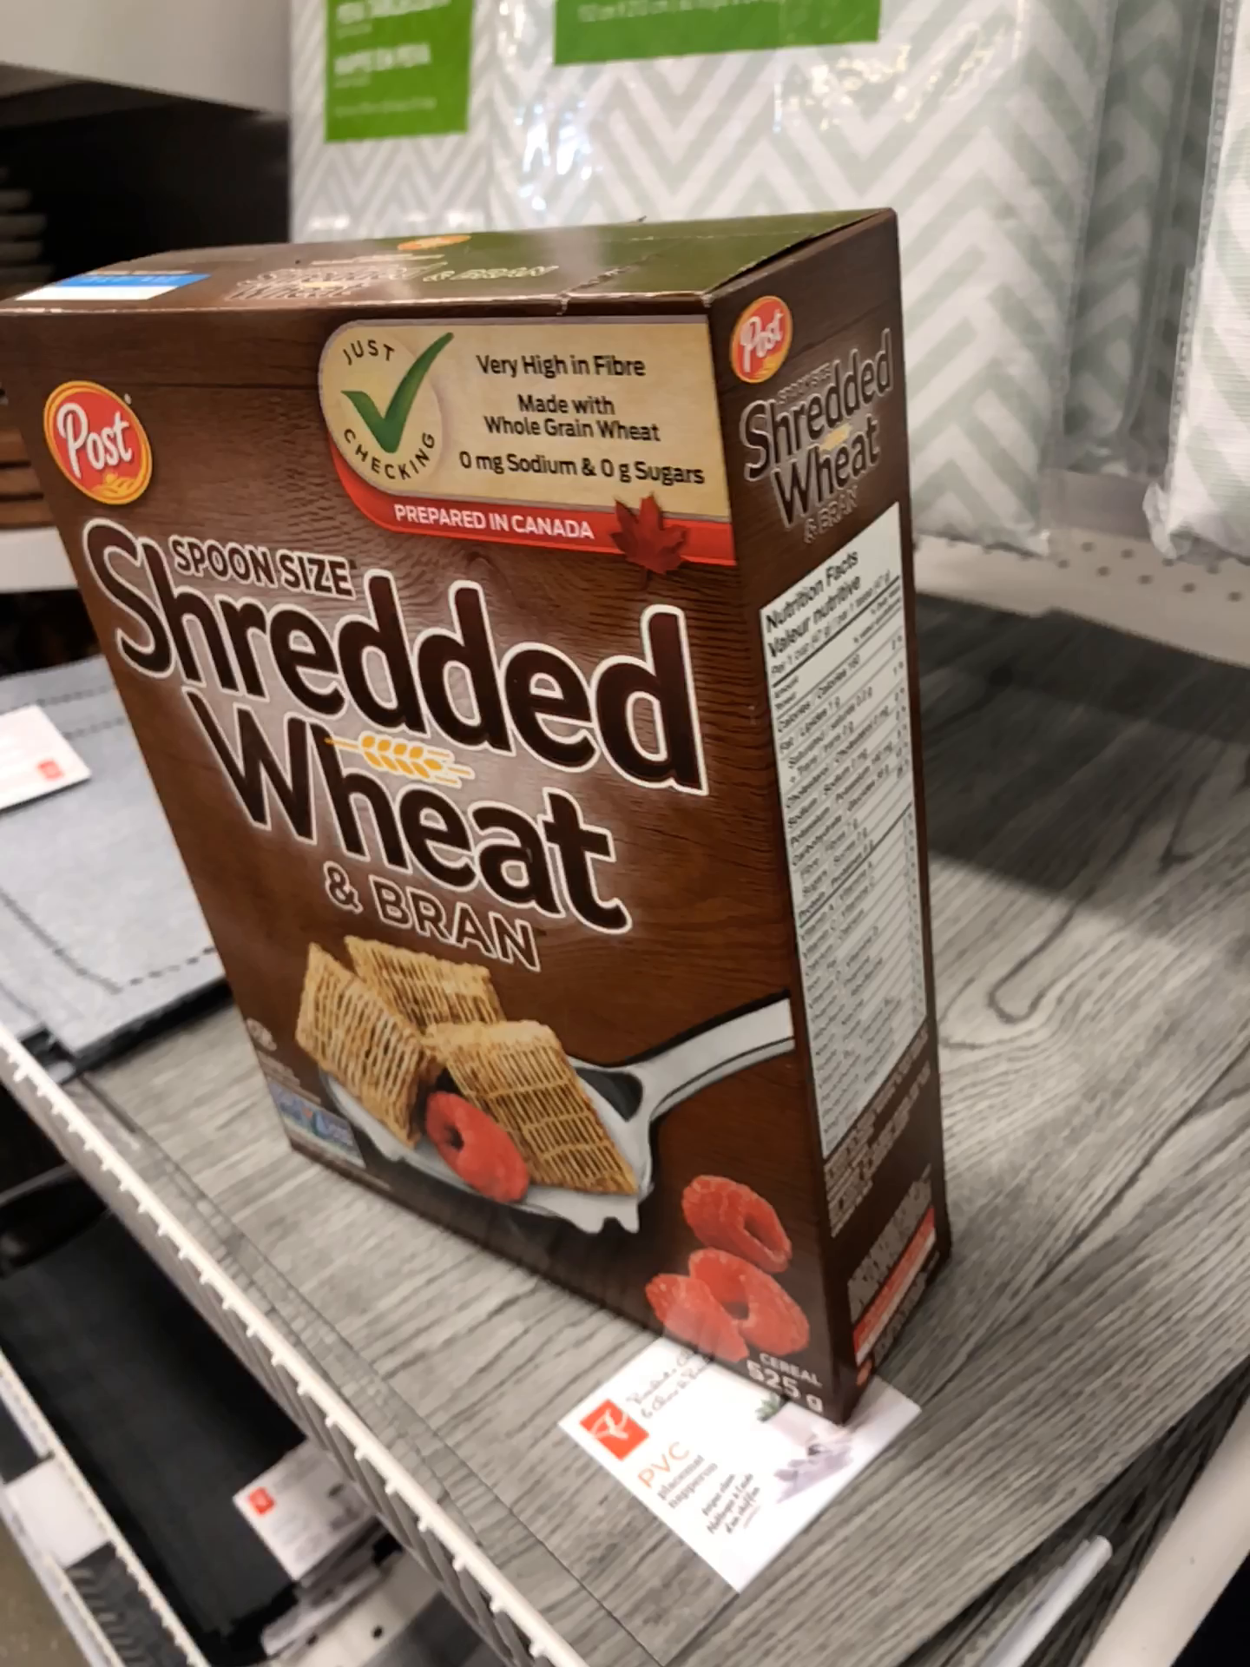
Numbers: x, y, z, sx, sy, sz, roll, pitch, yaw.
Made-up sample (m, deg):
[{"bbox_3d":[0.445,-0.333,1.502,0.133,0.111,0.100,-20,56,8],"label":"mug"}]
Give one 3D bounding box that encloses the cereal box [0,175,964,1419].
[{"bbox_3d":[-0.029,-0.009,0.344,0.200,0.259,0.070,15,40,35],"label":"cereal box"}]
